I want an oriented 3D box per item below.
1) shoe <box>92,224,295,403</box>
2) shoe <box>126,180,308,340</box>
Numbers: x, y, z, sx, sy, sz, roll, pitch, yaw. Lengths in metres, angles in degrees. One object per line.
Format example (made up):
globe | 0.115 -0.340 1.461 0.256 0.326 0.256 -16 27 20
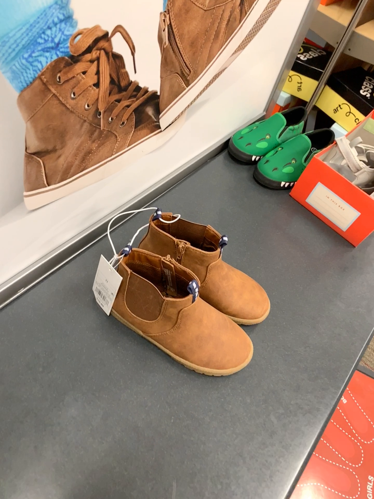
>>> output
shoe | 0.002 0.072 0.426 0.190 0.100 0.087 26 52 5
shoe | 0.033 0.014 0.481 0.190 0.100 0.087 26 52 5
